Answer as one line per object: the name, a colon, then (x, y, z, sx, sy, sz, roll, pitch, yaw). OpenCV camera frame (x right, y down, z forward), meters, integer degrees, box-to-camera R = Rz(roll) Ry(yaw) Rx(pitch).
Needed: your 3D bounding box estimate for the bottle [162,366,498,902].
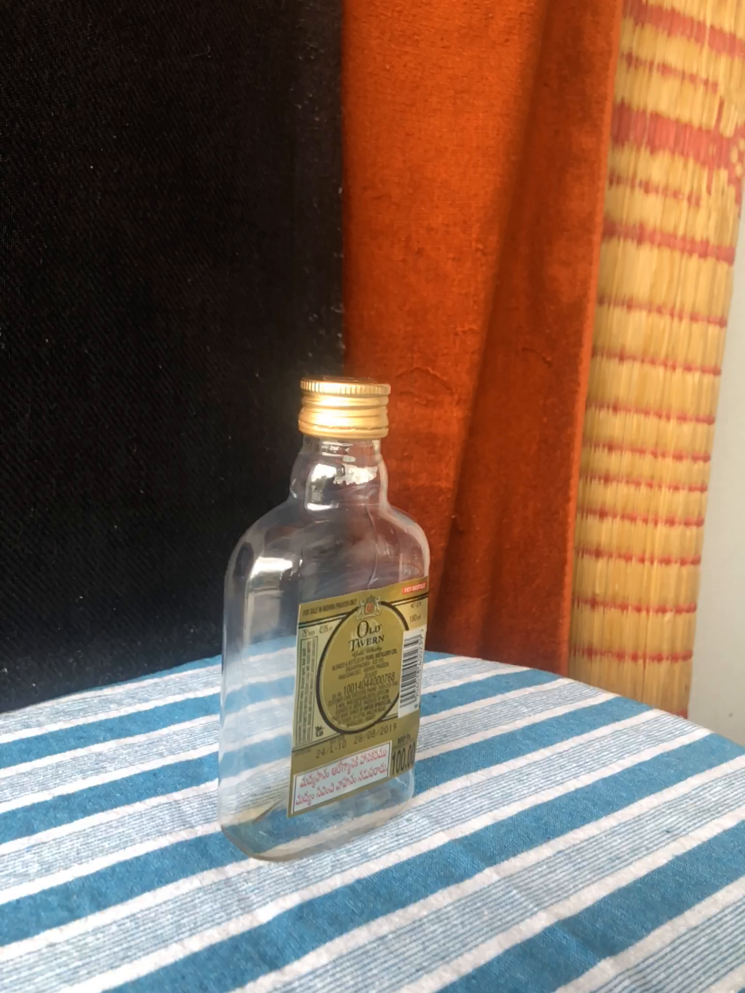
bottle: (-0.013, 0.035, 0.251, 0.080, 0.140, 0.040, -4, 15, -41)
